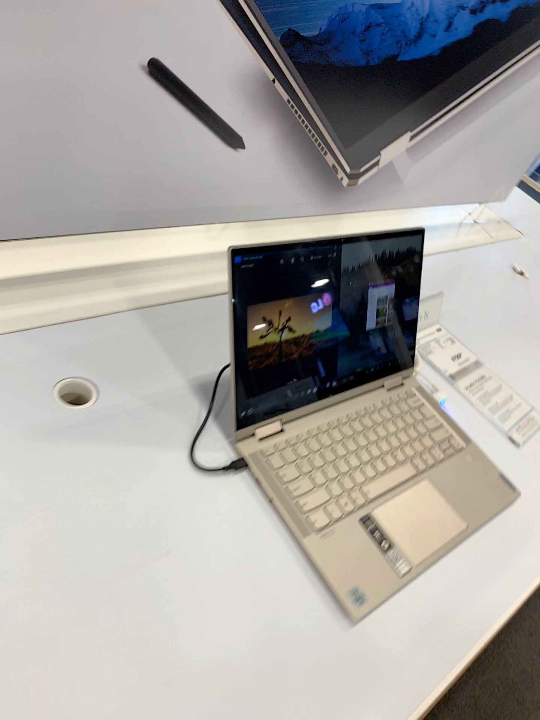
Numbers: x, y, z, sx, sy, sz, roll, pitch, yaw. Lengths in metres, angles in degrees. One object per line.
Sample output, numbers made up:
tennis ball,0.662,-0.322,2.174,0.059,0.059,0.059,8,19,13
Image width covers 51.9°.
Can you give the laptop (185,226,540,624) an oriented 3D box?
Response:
laptop,0.134,0.031,0.625,0.310,0.170,0.329,-15,56,-38
